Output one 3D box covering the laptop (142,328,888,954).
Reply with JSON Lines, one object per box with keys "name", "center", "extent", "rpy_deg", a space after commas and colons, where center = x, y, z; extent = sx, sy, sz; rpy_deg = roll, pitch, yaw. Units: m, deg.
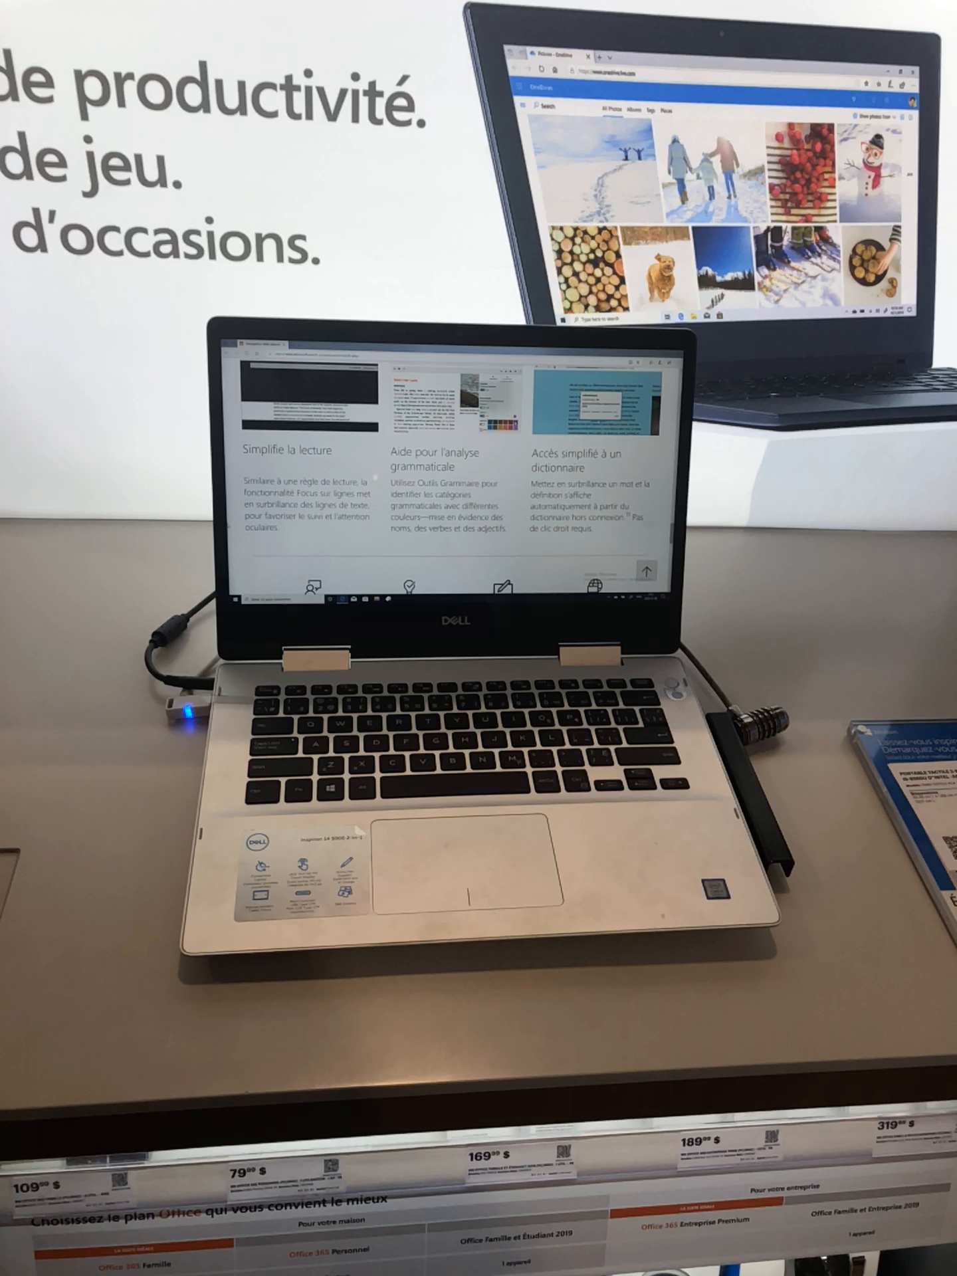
{"name": "laptop", "center": [-0.004, -0.021, 0.631], "extent": [0.316, 0.193, 0.338], "rpy_deg": [-1, 40, -7]}
